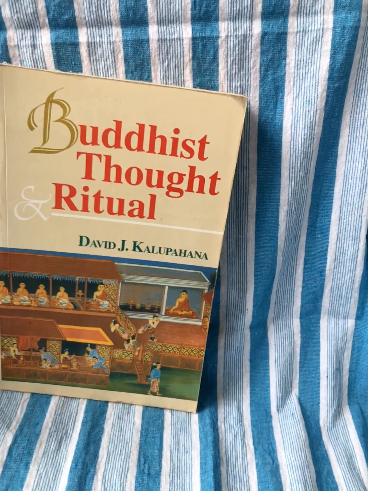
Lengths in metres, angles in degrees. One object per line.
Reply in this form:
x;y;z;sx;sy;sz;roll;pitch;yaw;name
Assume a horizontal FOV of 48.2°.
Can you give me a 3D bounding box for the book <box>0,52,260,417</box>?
-0.049;0.008;0.260;0.150;0.219;0.020;7;21;-2;book
